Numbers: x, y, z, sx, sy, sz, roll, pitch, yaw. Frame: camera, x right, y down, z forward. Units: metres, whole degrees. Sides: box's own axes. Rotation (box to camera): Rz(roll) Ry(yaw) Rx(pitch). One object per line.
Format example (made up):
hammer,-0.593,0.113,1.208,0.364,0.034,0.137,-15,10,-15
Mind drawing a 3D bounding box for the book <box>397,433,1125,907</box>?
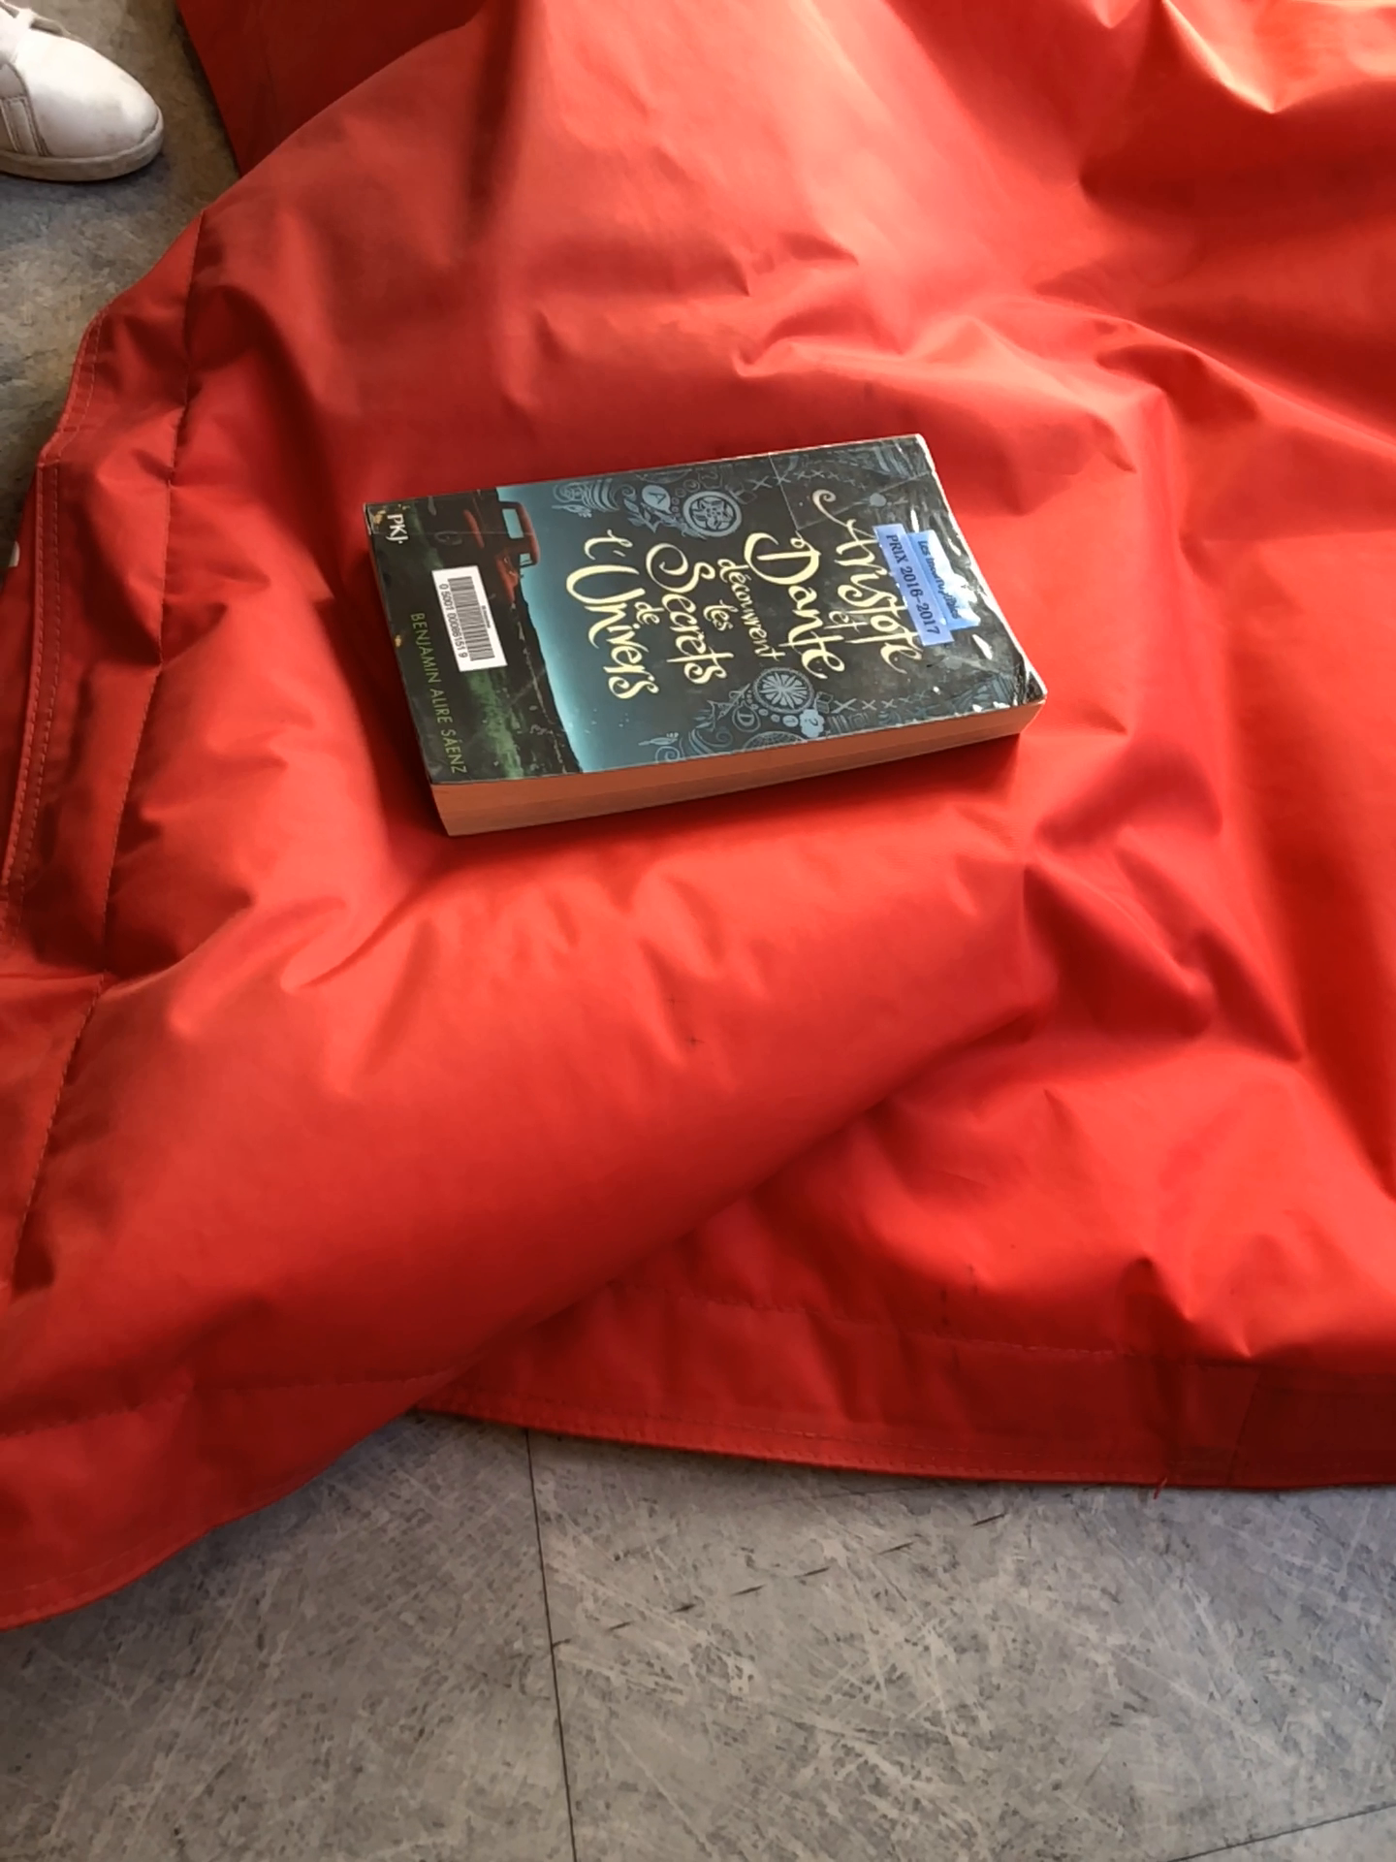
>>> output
book,0.017,-0.103,0.568,0.229,0.048,0.149,-11,58,-12
